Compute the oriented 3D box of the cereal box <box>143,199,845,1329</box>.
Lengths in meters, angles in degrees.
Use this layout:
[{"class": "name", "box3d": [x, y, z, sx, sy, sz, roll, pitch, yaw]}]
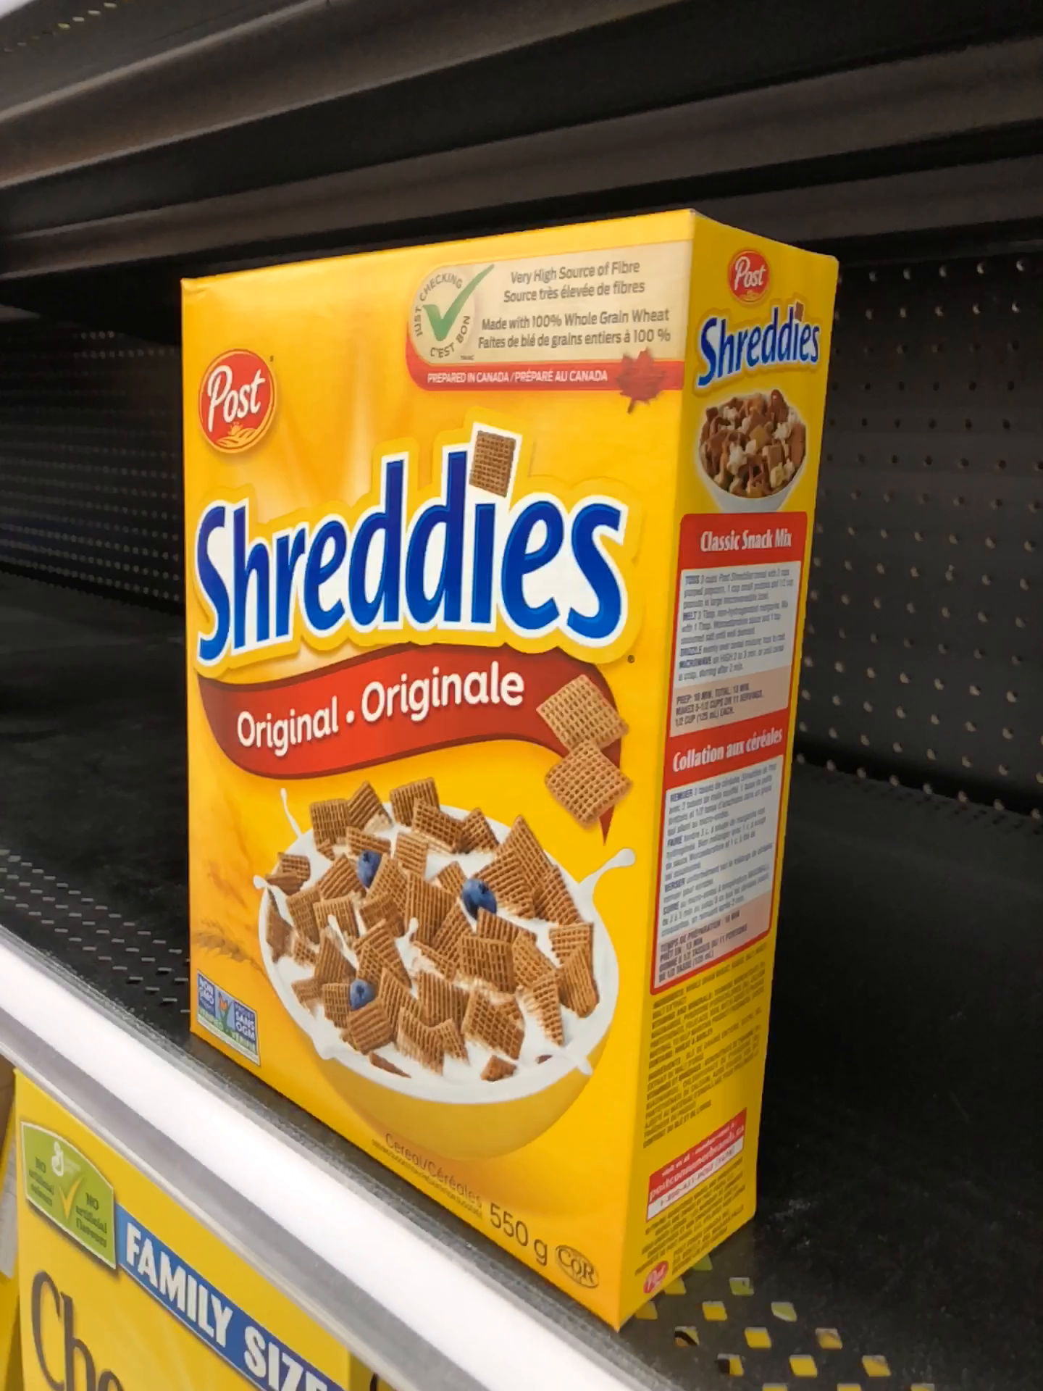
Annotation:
[{"class": "cereal box", "box3d": [-0.026, 0.005, 0.352, 0.210, 0.259, 0.070, 12, 15, 42]}]
